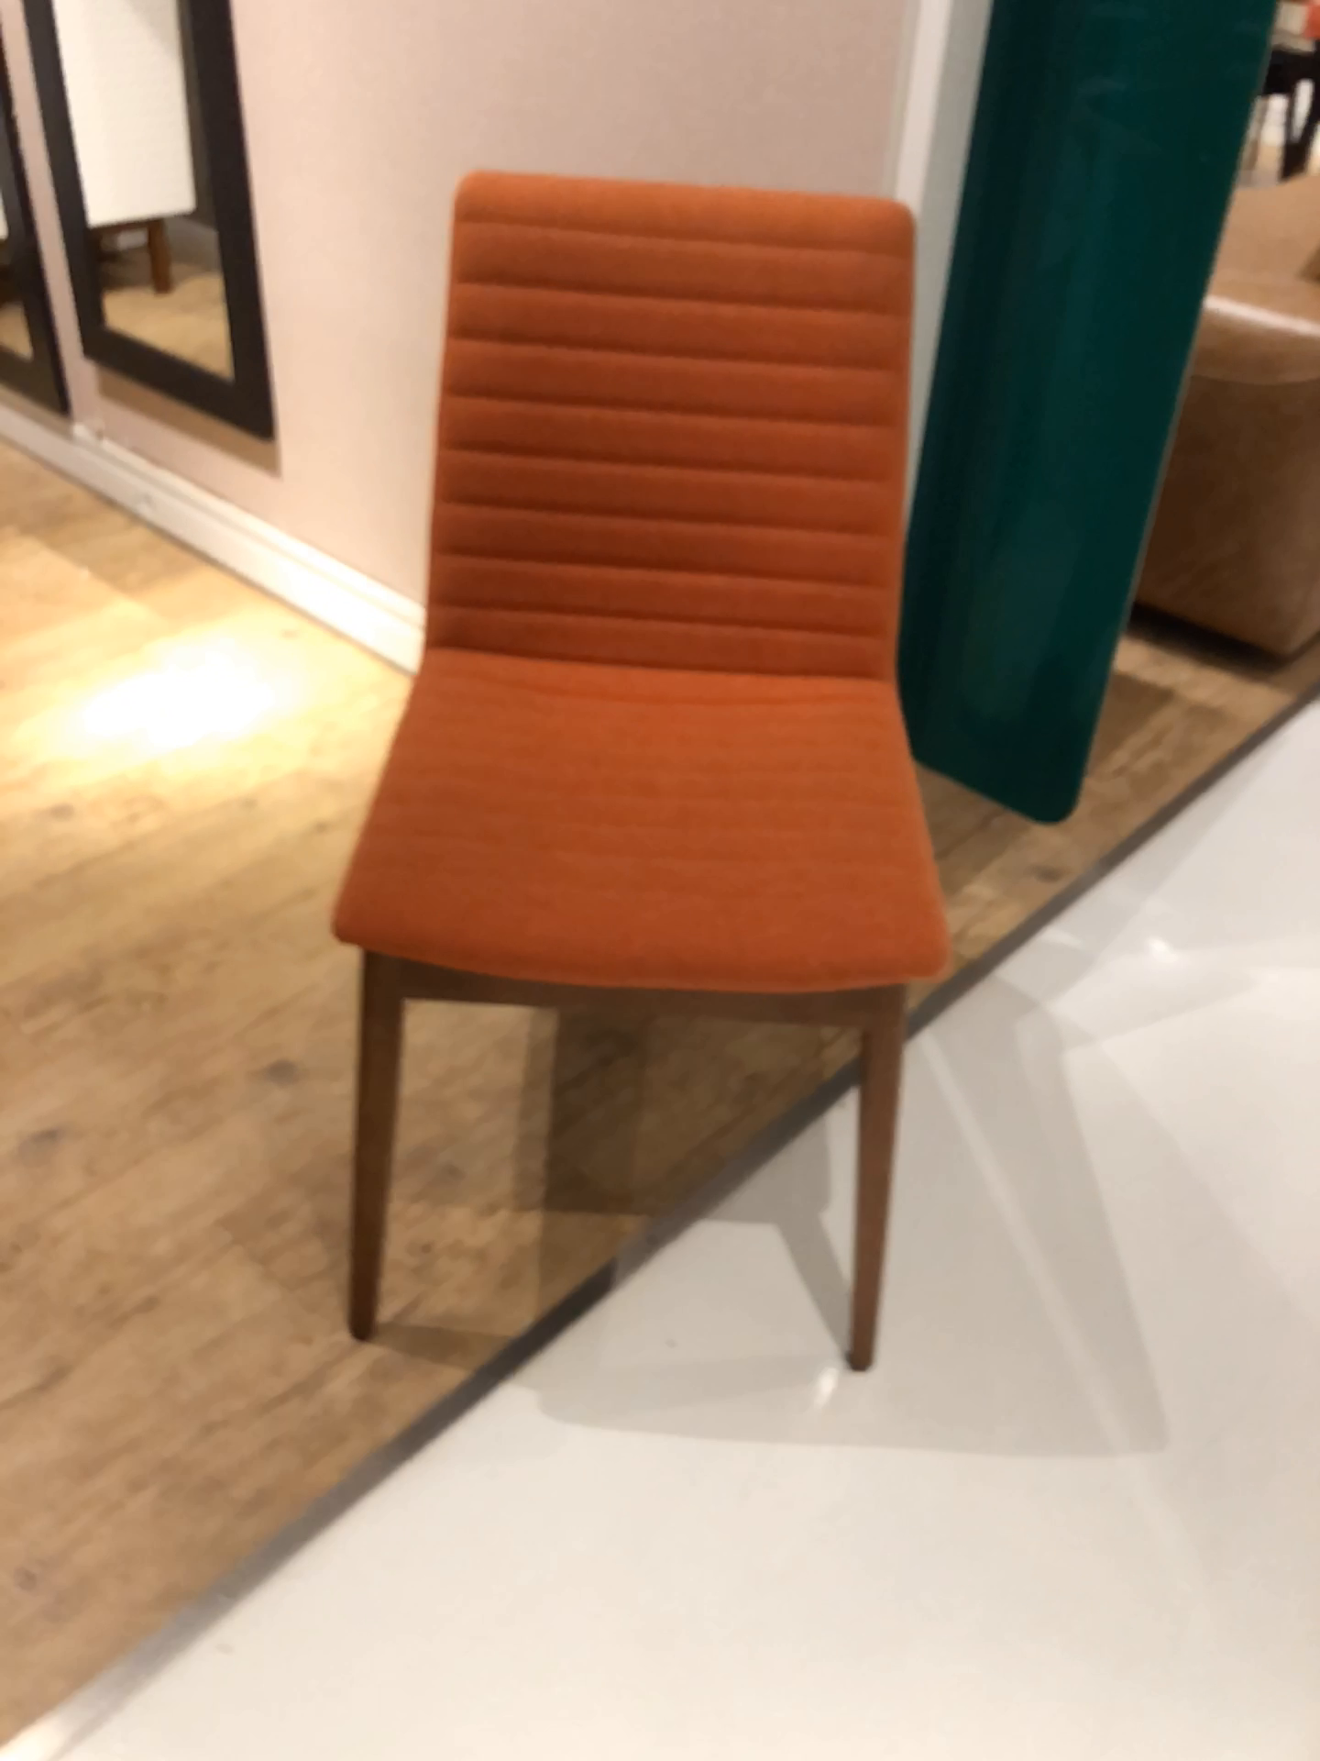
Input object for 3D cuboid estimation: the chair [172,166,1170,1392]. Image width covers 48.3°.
[{"bbox_3d":[-0.004,-0.094,1.275,0.530,0.813,0.635,3,36,0],"label":"chair"}]
